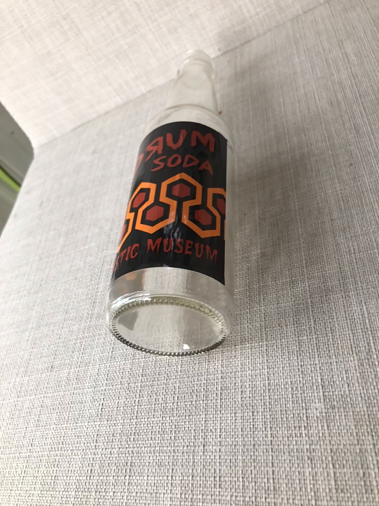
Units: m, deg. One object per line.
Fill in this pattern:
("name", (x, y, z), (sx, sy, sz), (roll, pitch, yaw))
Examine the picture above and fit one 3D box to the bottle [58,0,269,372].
("bottle", (-0.004, -0.058, 0.253), (0.062, 0.070, 0.232), (-19, 48, 27))
